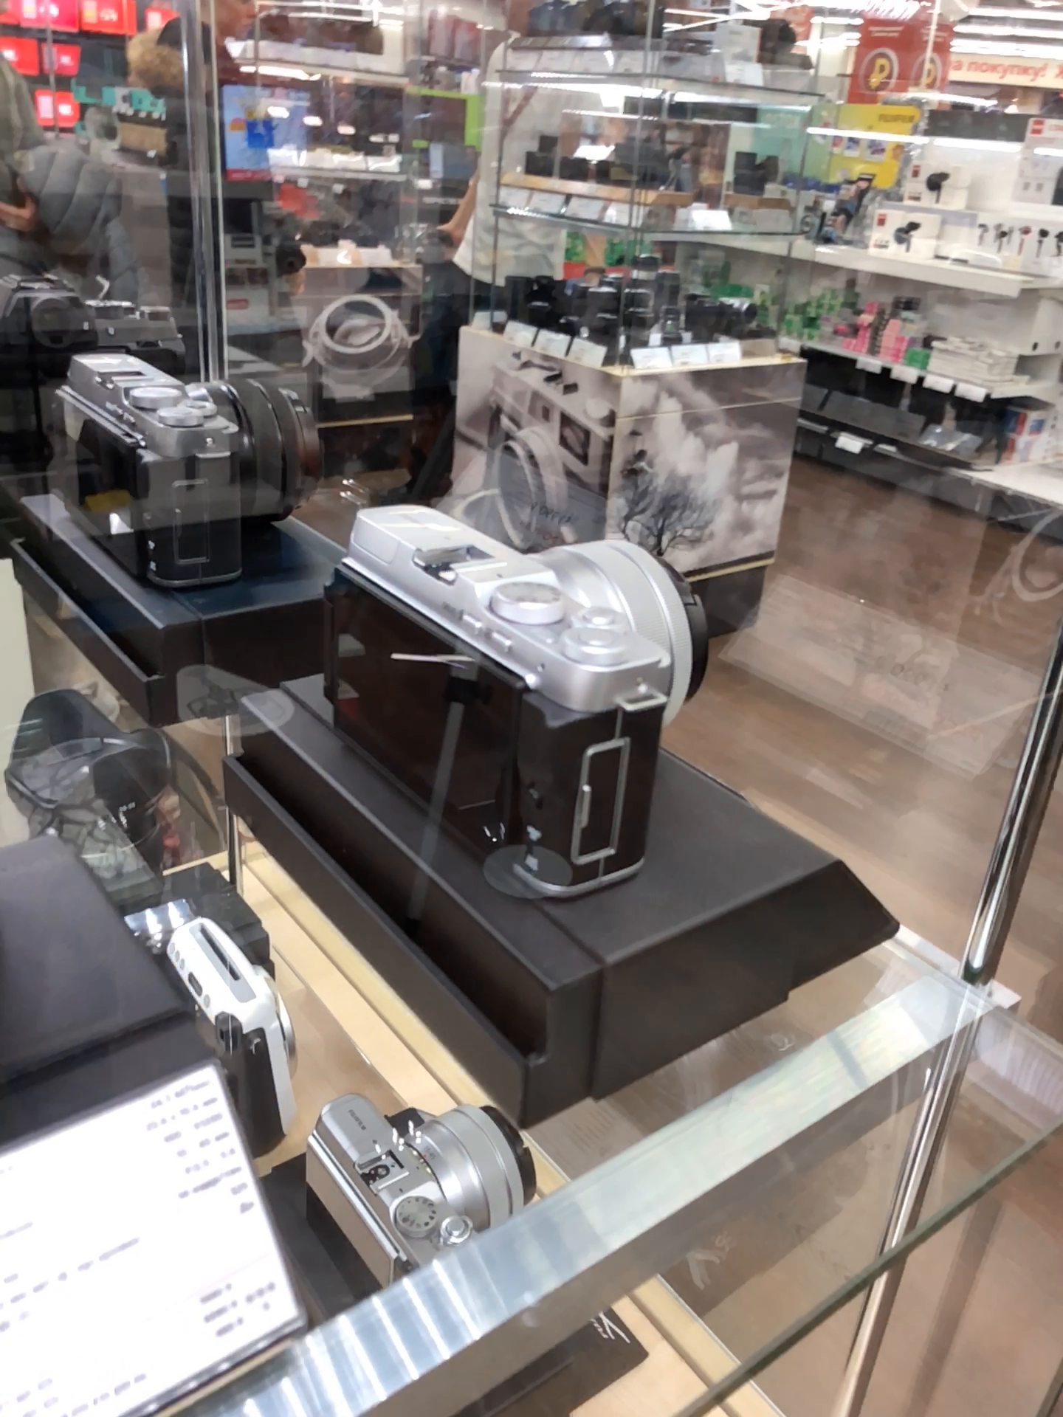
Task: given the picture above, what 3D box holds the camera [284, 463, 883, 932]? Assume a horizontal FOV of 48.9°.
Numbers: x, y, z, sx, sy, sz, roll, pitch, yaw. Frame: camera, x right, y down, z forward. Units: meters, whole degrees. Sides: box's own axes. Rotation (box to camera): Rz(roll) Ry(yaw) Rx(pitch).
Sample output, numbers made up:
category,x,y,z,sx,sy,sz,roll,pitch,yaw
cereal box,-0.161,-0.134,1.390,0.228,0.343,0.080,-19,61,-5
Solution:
category,x,y,z,sx,sy,sz,roll,pitch,yaw
camera,0.007,-0.015,0.328,0.100,0.066,0.133,-15,32,-35
